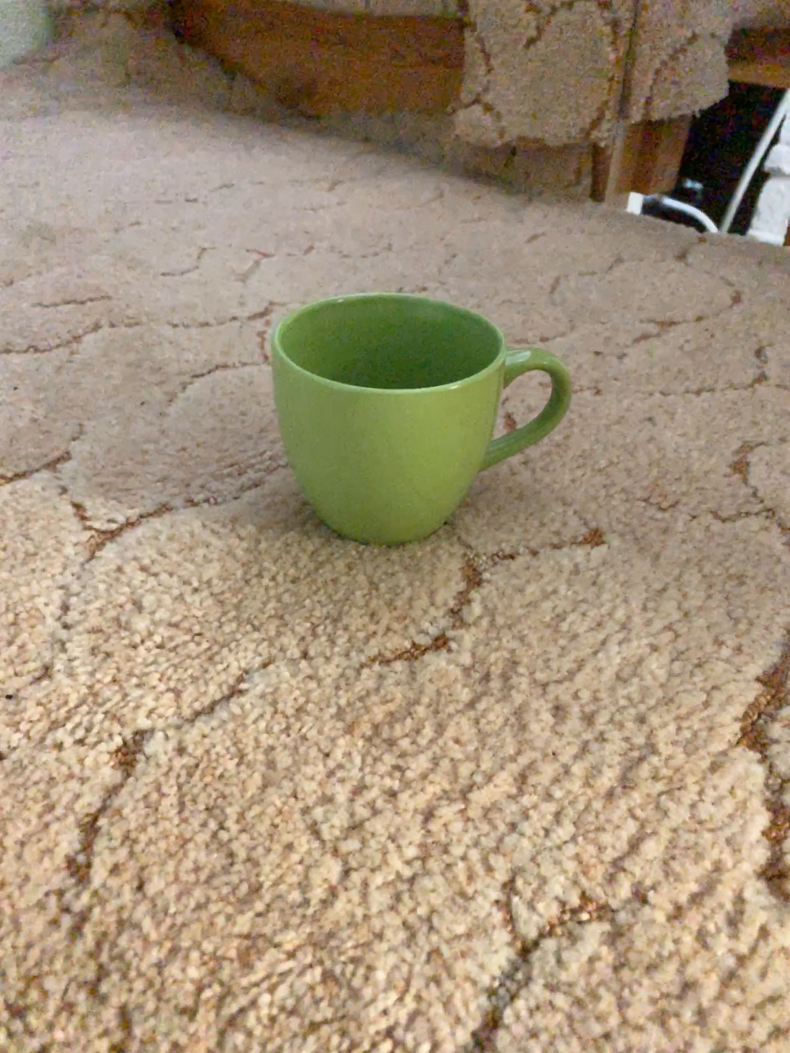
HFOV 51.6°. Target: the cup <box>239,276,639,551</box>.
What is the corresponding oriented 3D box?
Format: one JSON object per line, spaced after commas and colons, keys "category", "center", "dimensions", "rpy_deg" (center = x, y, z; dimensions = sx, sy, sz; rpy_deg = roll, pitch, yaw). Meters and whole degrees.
{"category": "cup", "center": [0.009, -0.047, 0.301], "dimensions": [0.120, 0.059, 0.091], "rpy_deg": [-6, 33, -12]}
